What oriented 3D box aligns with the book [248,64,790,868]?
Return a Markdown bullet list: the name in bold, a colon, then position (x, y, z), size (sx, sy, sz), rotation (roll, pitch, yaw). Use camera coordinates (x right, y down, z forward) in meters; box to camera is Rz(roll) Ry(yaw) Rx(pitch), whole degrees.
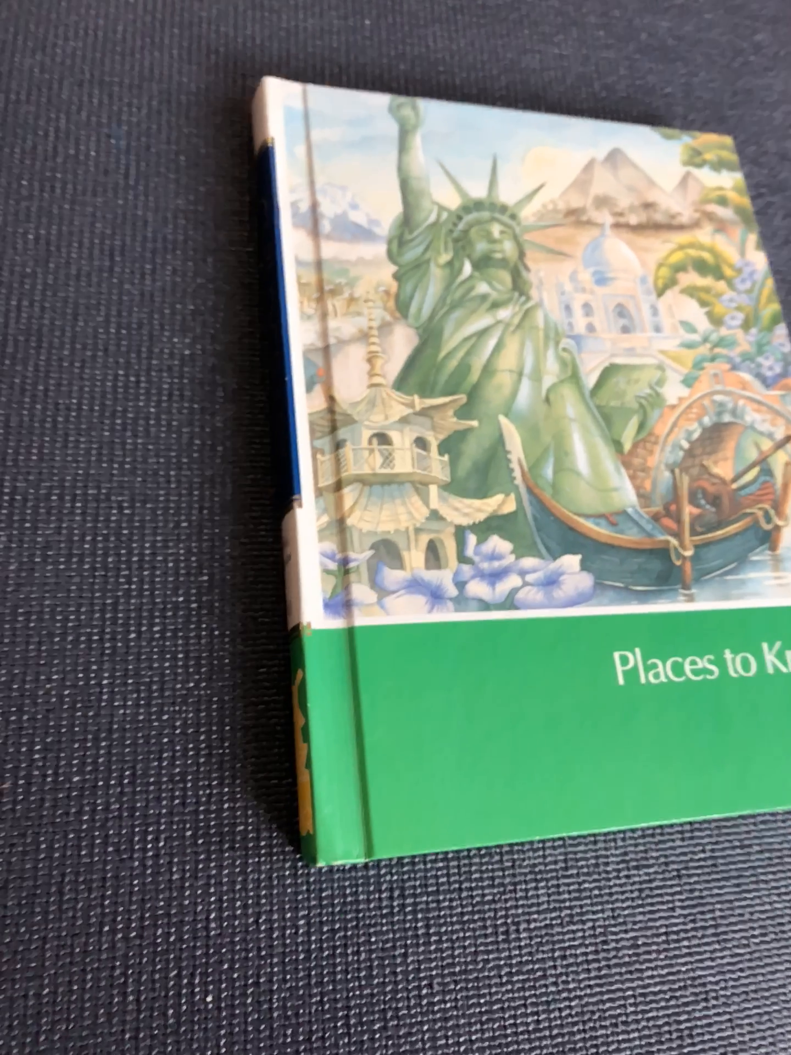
- **book**: position (0.055, -0.032, 0.295), size (0.190, 0.030, 0.250), rotation (-1, 70, -17)
